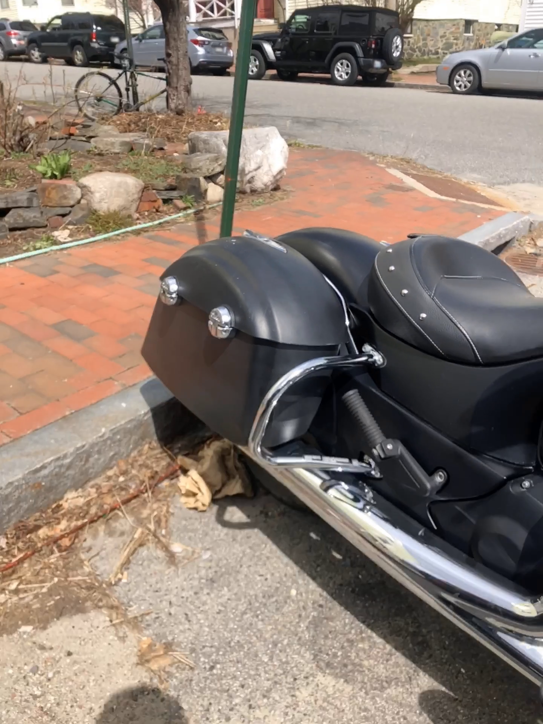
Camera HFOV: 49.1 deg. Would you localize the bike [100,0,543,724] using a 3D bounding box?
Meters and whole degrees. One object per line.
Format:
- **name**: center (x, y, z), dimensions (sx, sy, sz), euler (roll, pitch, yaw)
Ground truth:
- **bike**: center (0.682, 0.148, 0.806), dimensions (0.783, 1.238, 2.131), euler (-21, 32, -34)
